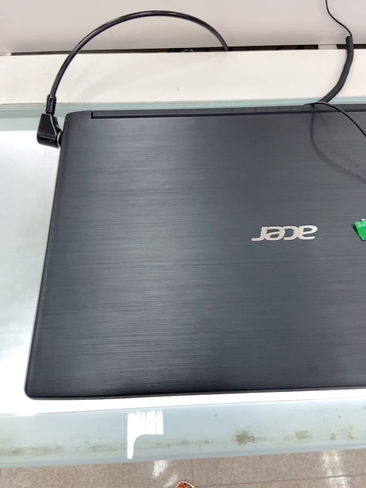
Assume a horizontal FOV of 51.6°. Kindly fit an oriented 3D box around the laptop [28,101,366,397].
[{"bbox_3d":[0.087,-0.020,0.307,0.386,0.001,0.248,-3,63,-2],"label":"laptop"}]
